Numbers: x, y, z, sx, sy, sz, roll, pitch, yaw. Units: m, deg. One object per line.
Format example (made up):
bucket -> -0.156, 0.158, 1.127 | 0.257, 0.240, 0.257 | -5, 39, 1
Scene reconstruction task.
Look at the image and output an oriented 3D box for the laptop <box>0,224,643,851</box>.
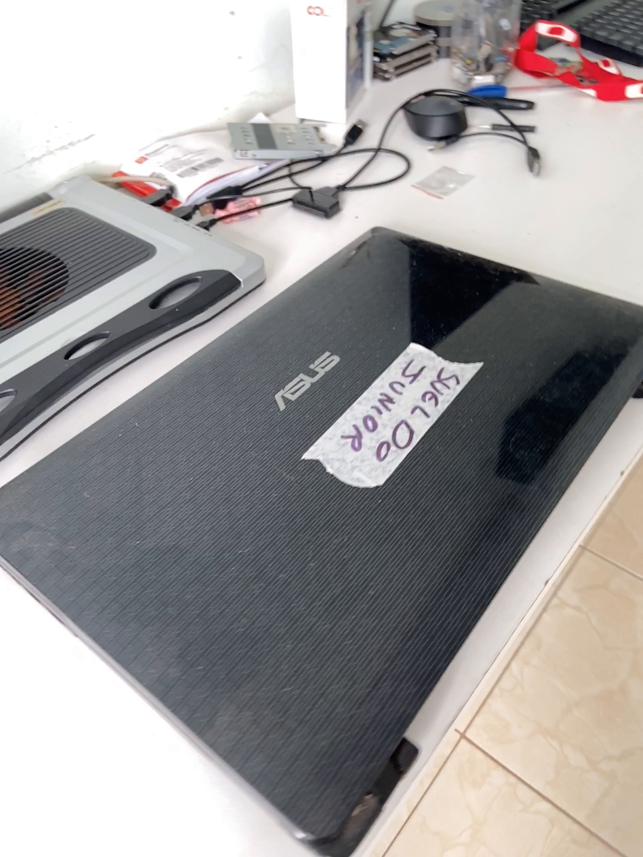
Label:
laptop -> 0.021, -0.010, 0.382 | 0.237, 0.001, 0.364 | 27, 53, 29
